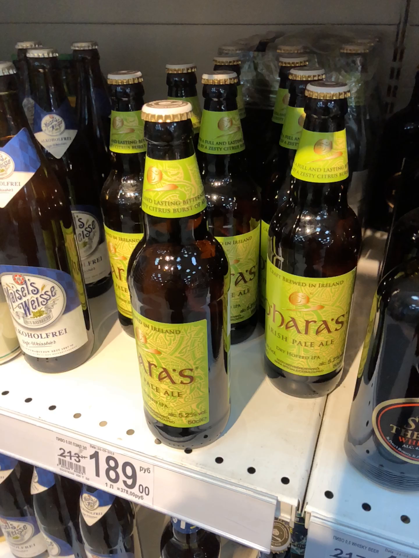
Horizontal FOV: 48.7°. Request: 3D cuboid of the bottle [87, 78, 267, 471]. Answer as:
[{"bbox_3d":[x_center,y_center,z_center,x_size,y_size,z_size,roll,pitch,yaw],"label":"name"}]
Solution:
[{"bbox_3d":[-0.016,0.006,0.313,0.070,0.250,0.070,-1,31,1],"label":"bottle"}]
